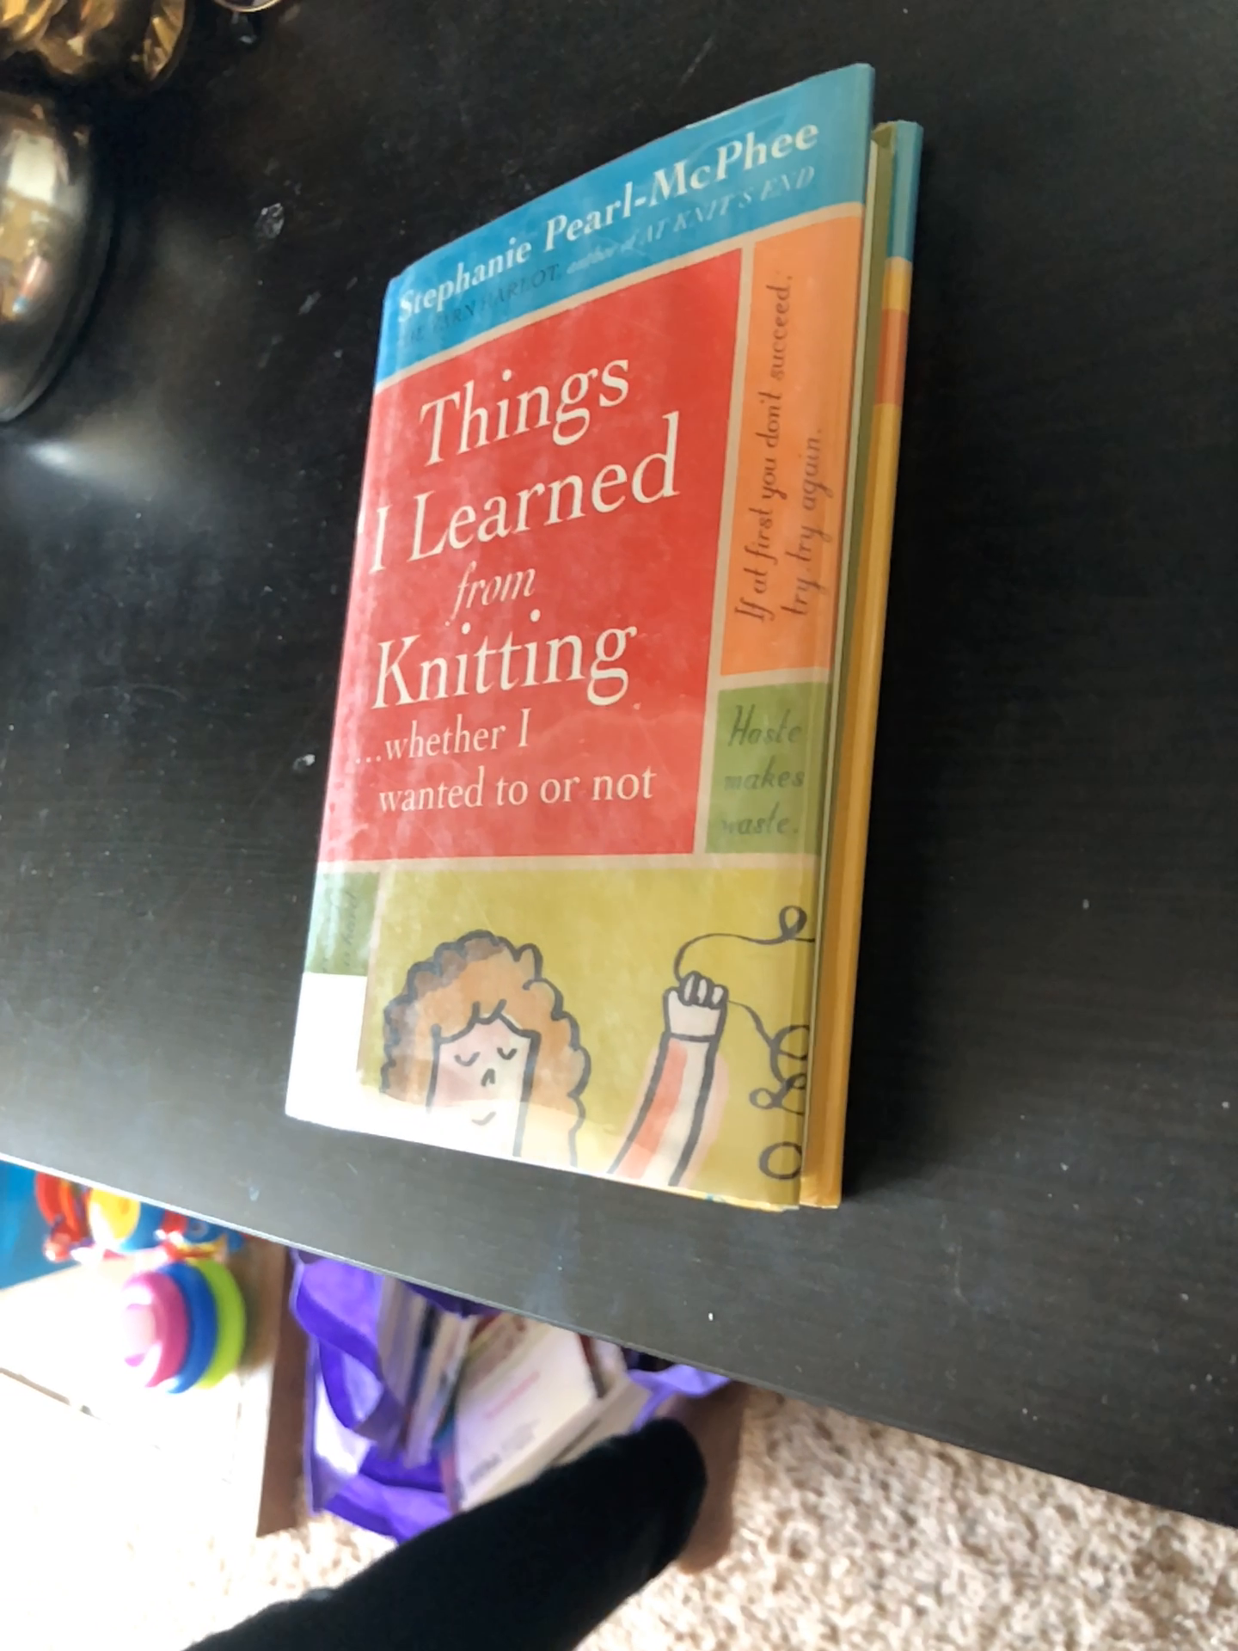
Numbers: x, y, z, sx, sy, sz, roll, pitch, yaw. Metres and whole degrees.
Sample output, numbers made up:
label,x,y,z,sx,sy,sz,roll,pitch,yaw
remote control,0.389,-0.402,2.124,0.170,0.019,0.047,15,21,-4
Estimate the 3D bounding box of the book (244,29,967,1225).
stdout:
label,x,y,z,sx,sy,sz,roll,pitch,yaw
book,-0.007,-0.029,0.232,0.118,0.023,0.166,-1,79,40
